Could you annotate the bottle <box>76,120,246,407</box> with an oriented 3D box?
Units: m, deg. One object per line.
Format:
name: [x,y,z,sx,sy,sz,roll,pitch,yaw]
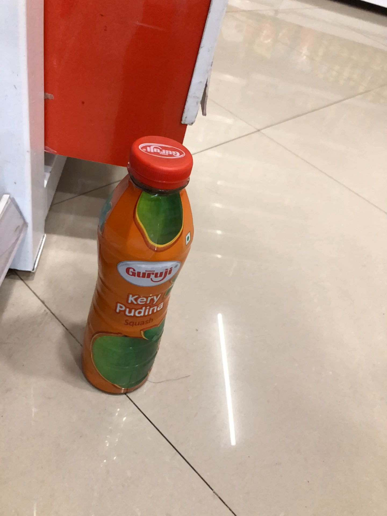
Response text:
bottle: [-0.045,0.021,0.348,0.080,0.238,0.080,10,43,-9]
